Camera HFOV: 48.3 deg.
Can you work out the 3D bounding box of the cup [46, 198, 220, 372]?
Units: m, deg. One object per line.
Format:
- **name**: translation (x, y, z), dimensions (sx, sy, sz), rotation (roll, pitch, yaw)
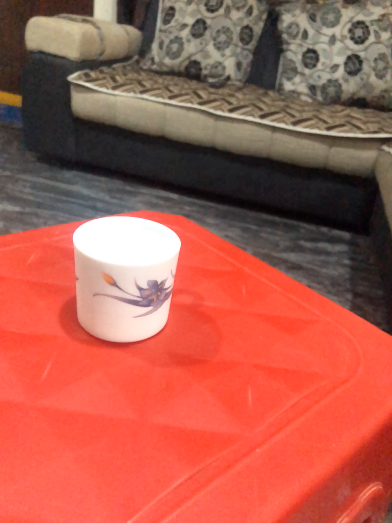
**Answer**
- **cup**: translation (-0.037, 0.008, 0.281), dimensions (0.070, 0.060, 0.090), rotation (17, 29, 16)
